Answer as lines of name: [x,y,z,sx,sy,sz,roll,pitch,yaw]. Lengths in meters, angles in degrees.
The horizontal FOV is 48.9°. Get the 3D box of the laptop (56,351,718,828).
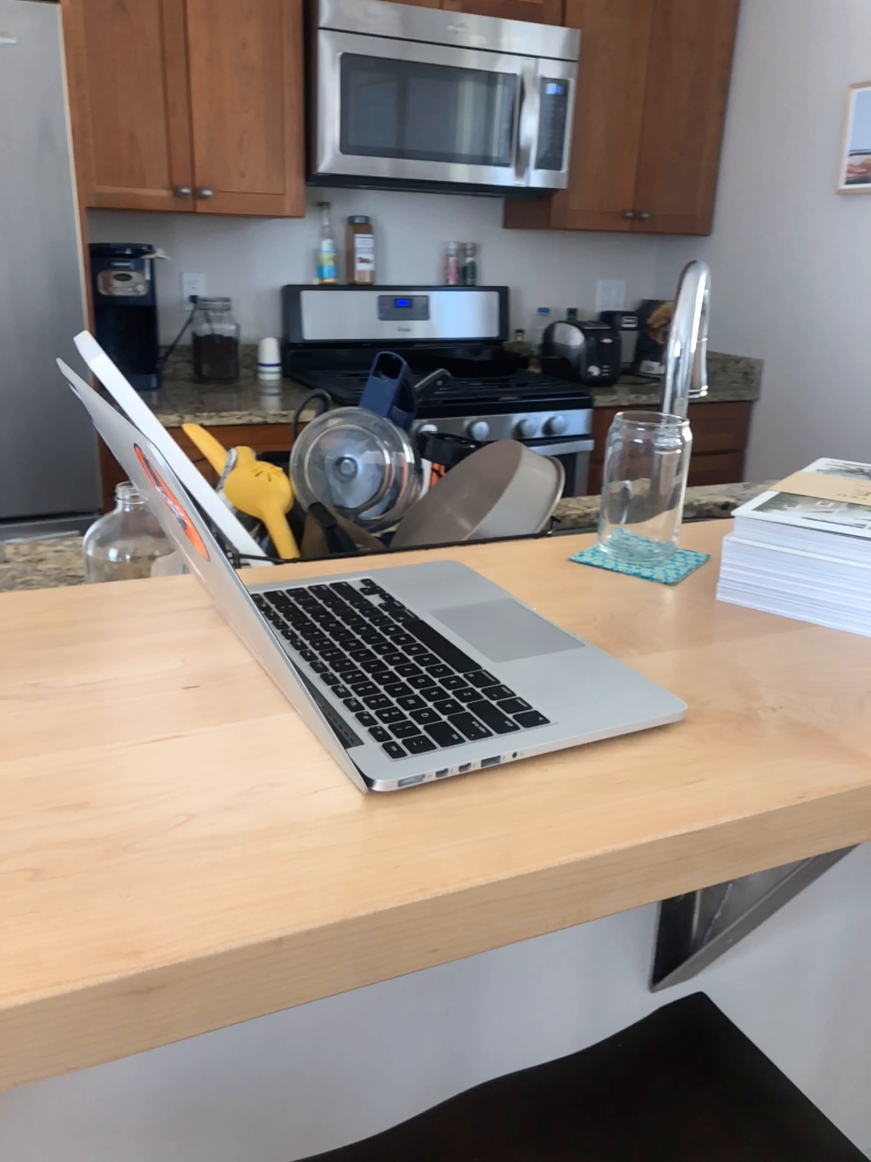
laptop: [-0.057,-0.037,0.653,0.323,0.188,0.323,-8,22,-26]
